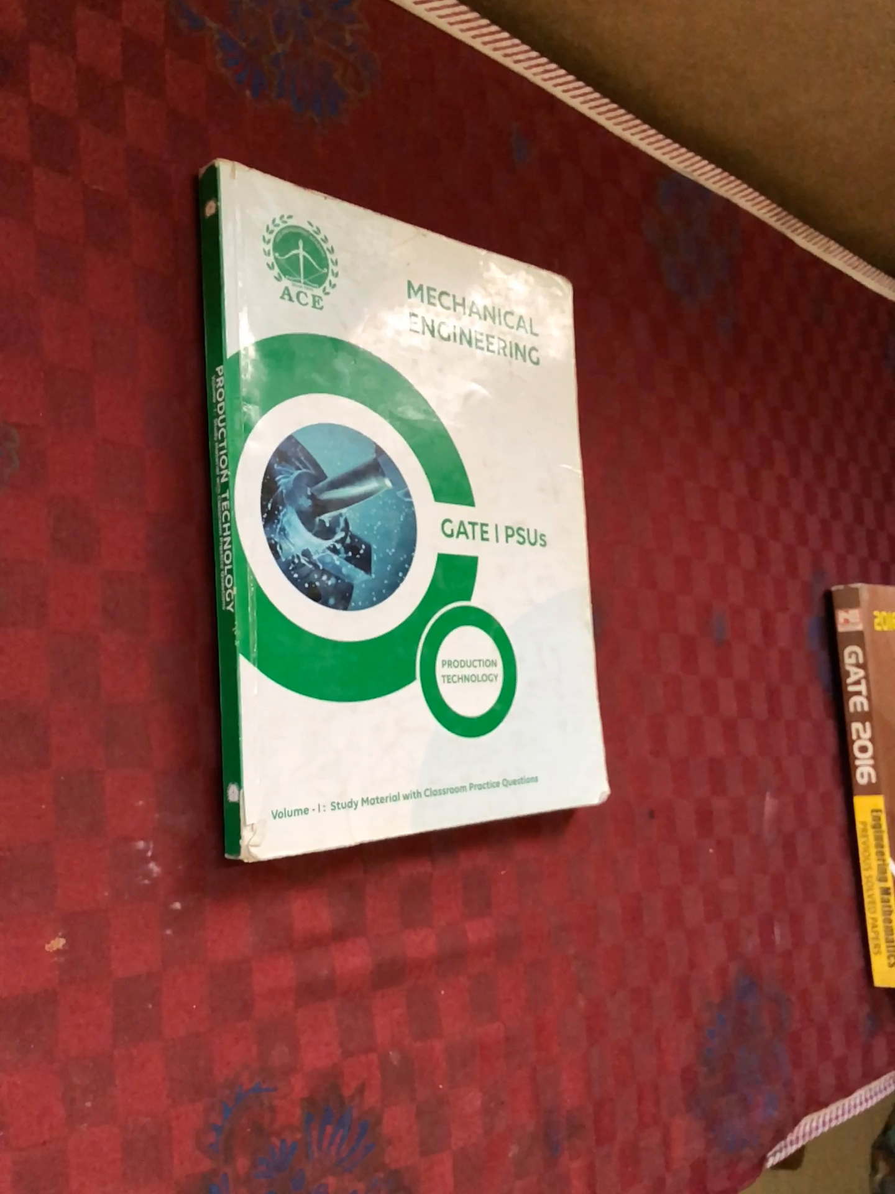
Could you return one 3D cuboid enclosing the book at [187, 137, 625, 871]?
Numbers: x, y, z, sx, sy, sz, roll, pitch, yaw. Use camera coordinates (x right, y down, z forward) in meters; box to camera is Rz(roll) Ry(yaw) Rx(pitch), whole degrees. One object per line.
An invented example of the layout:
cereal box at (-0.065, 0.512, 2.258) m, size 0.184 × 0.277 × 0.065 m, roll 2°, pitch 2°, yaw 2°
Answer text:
book at (-0.009, -0.036, 0.453) m, size 0.211 × 0.030 × 0.280 m, roll 2°, pitch 81°, yaw -42°
